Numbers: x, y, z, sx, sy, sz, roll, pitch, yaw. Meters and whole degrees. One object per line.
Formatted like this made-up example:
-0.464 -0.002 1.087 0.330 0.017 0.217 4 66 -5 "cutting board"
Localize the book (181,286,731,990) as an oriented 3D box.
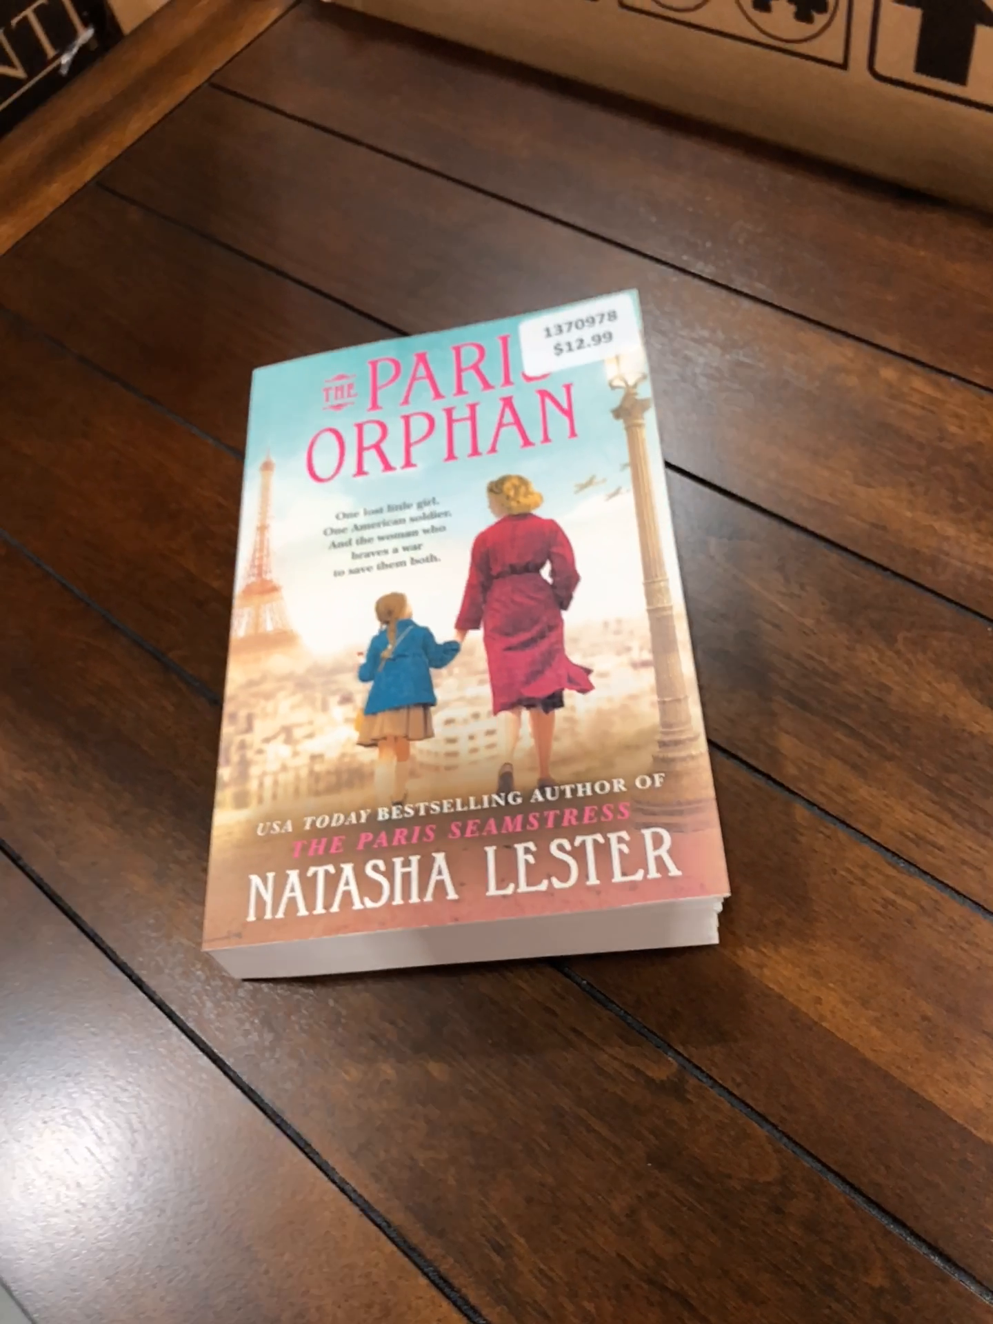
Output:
-0.013 -0.013 0.327 0.134 0.035 0.199 -8 61 10 "book"
